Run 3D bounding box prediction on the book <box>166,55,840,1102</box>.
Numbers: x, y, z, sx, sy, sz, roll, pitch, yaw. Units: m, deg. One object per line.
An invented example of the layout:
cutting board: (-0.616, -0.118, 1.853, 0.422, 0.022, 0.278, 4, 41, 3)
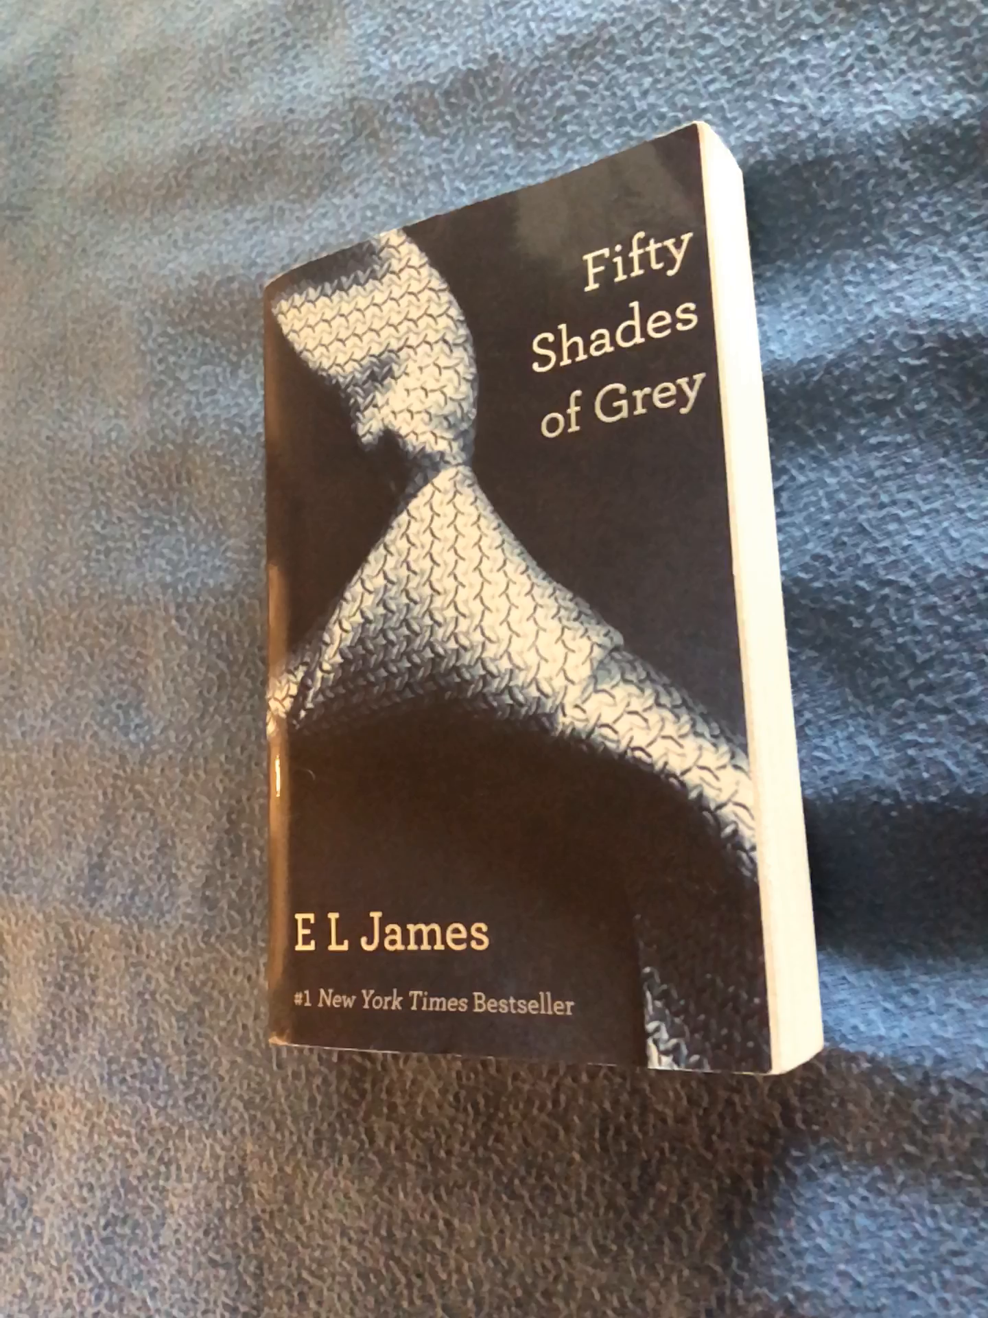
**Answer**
book: (-0.007, -0.014, 0.266, 0.151, 0.040, 0.210, -8, 76, 30)
